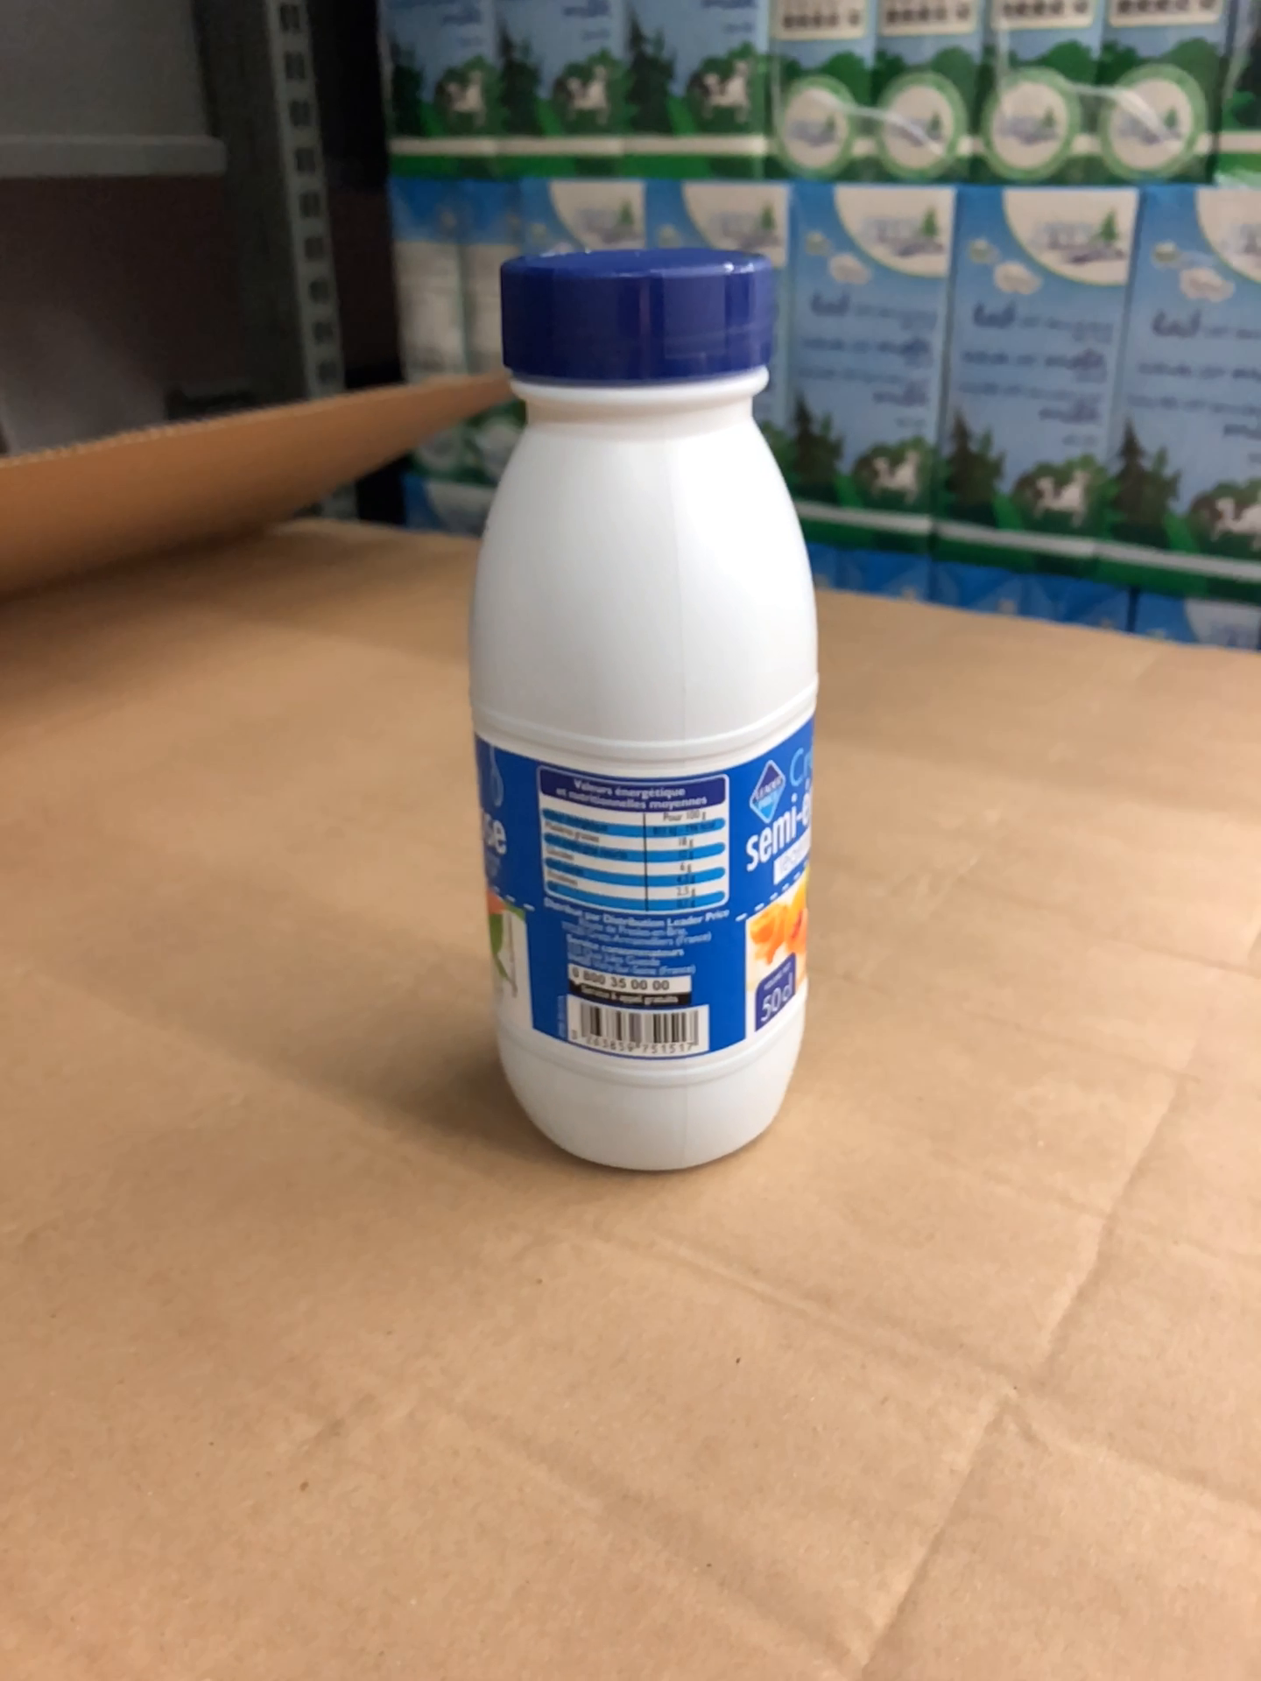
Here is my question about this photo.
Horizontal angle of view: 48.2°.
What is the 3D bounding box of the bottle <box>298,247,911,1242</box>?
[{"bbox_3d":[0.001,-0.023,0.279,0.080,0.169,0.080,-1,25,0],"label":"bottle"}]
